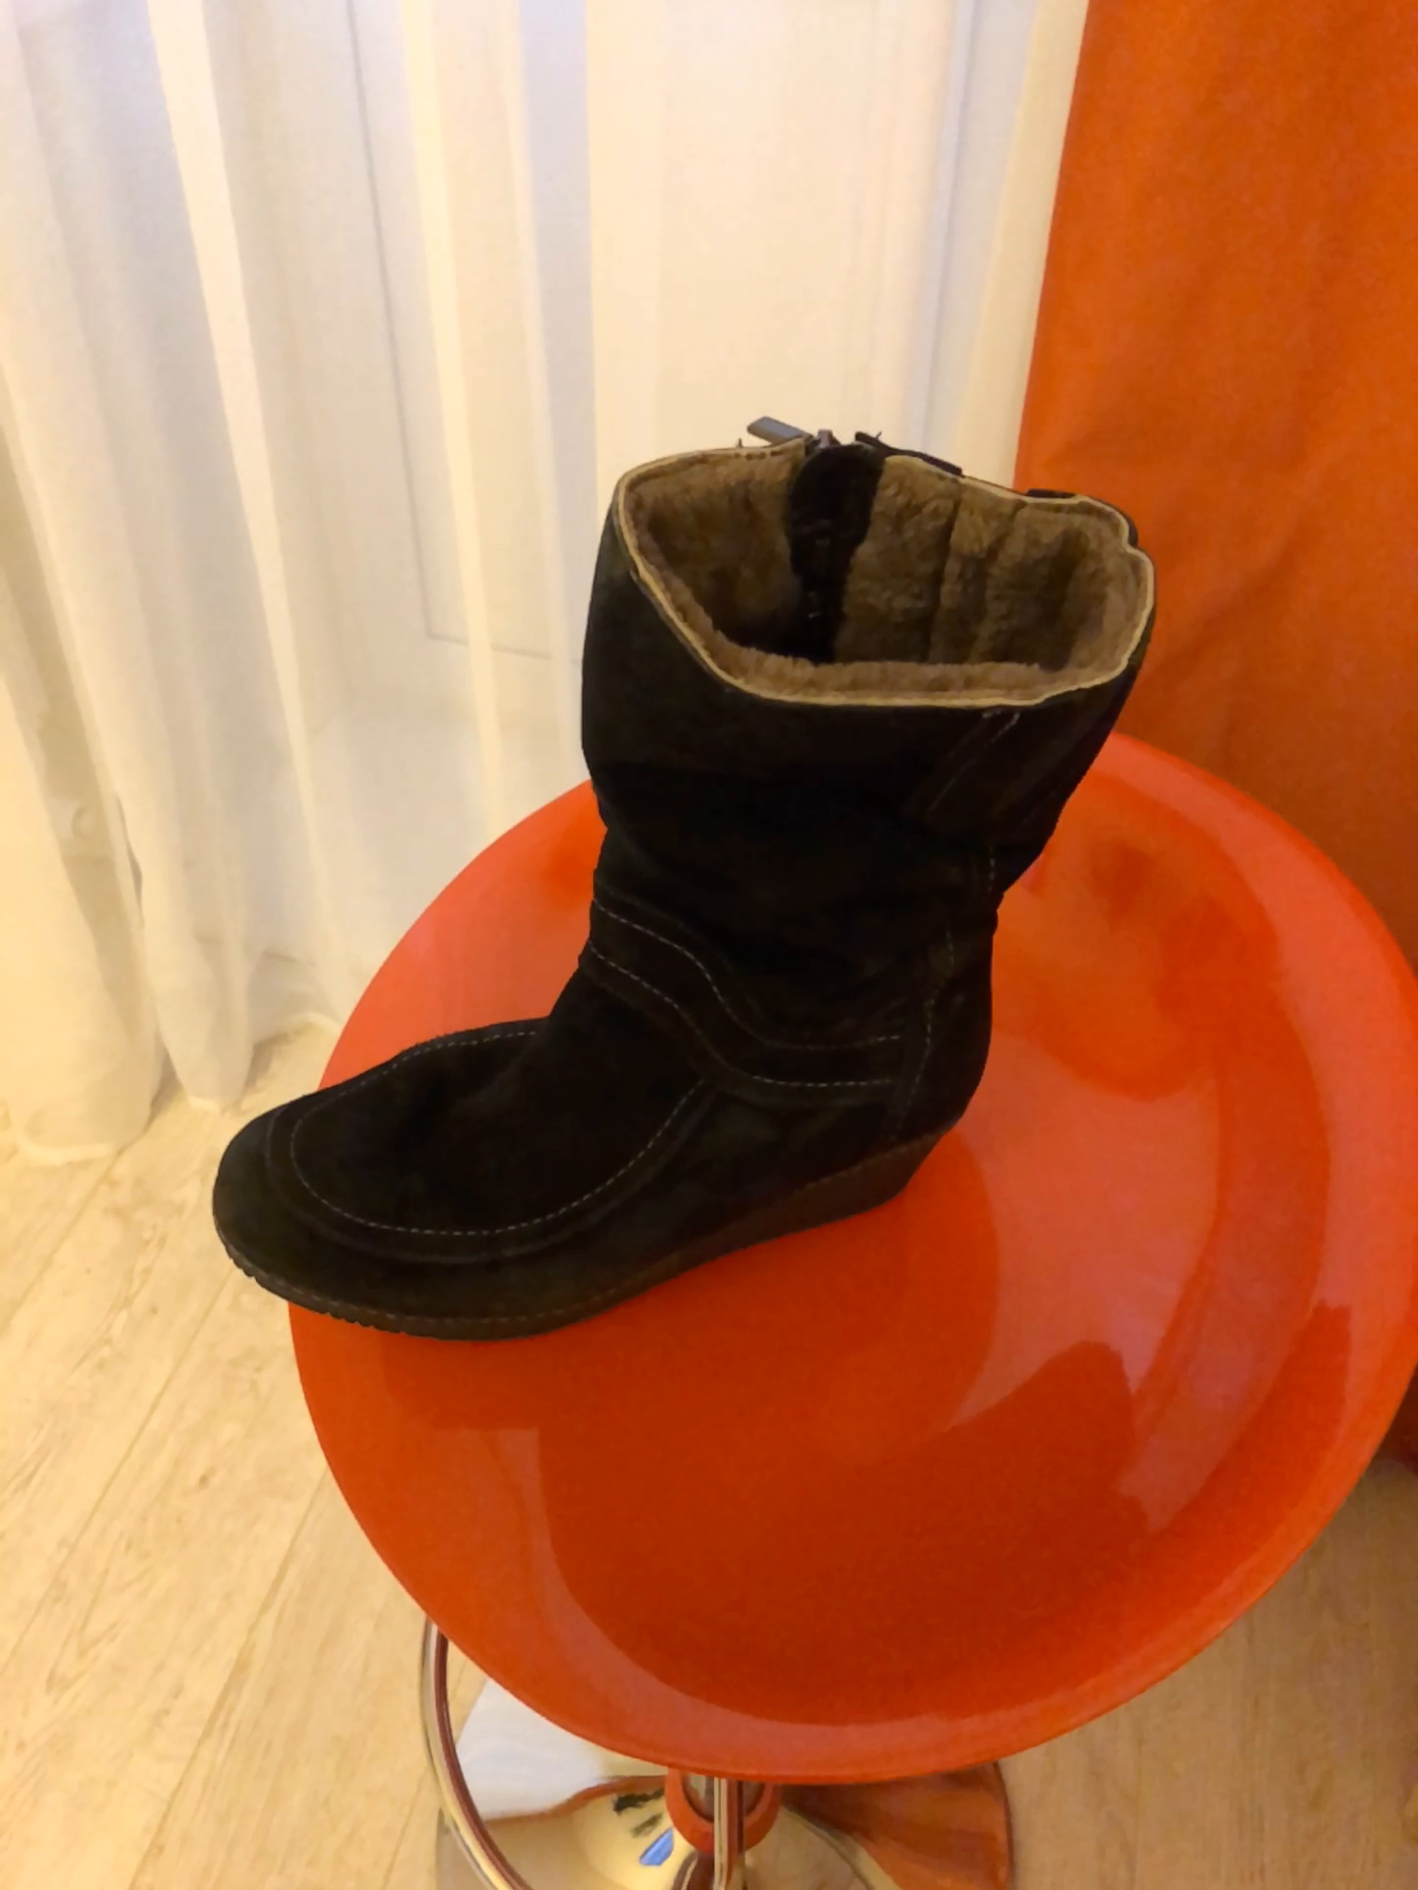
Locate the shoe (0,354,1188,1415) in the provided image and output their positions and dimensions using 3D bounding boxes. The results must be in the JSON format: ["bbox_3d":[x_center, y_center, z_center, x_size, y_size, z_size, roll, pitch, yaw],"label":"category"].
[{"bbox_3d":[-0.030,-0.012,0.448,0.260,0.248,0.101,-13,45,-15],"label":"shoe"}]
